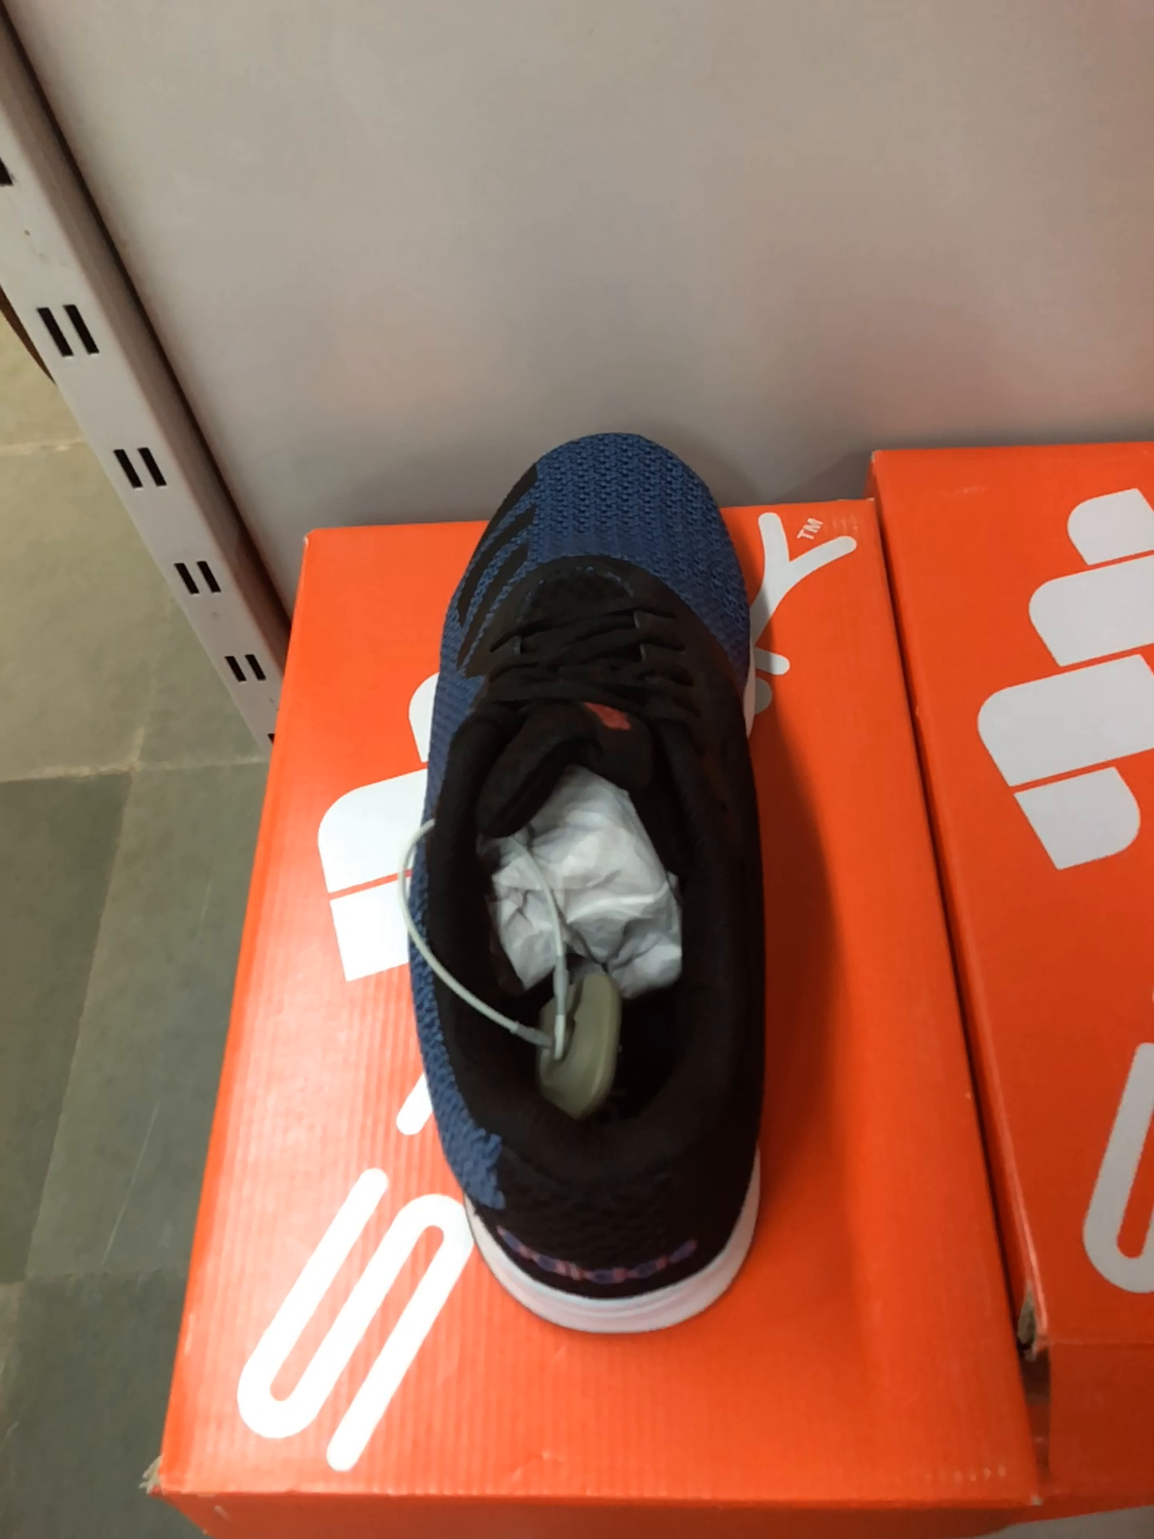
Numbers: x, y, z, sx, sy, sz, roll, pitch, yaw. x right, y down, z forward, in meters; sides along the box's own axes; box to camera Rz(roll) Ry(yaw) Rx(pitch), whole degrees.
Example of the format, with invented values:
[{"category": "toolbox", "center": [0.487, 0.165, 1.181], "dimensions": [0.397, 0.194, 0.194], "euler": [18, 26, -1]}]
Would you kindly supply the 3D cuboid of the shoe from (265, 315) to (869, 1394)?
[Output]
[{"category": "shoe", "center": [0.003, 0.019, 0.347], "dimensions": [0.105, 0.136, 0.254], "euler": [-3, 56, 4]}]
